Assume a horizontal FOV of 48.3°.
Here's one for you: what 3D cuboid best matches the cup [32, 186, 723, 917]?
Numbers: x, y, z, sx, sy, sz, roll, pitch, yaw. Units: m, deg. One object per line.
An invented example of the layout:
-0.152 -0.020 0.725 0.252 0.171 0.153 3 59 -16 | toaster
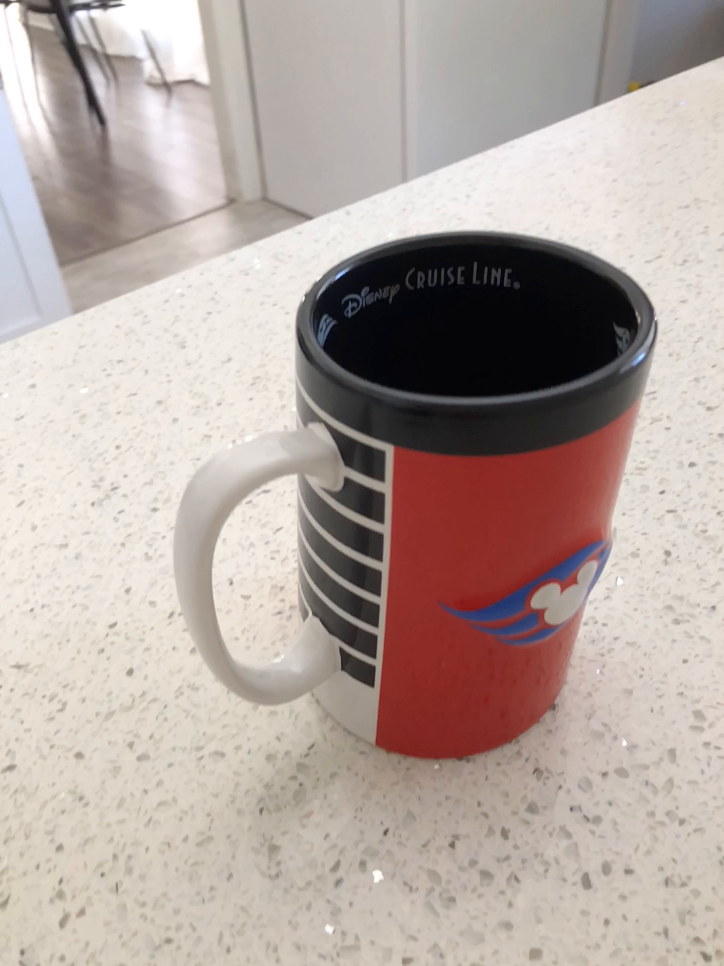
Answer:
0.011 0.008 0.203 0.130 0.110 0.090 -25 44 -23 | cup
